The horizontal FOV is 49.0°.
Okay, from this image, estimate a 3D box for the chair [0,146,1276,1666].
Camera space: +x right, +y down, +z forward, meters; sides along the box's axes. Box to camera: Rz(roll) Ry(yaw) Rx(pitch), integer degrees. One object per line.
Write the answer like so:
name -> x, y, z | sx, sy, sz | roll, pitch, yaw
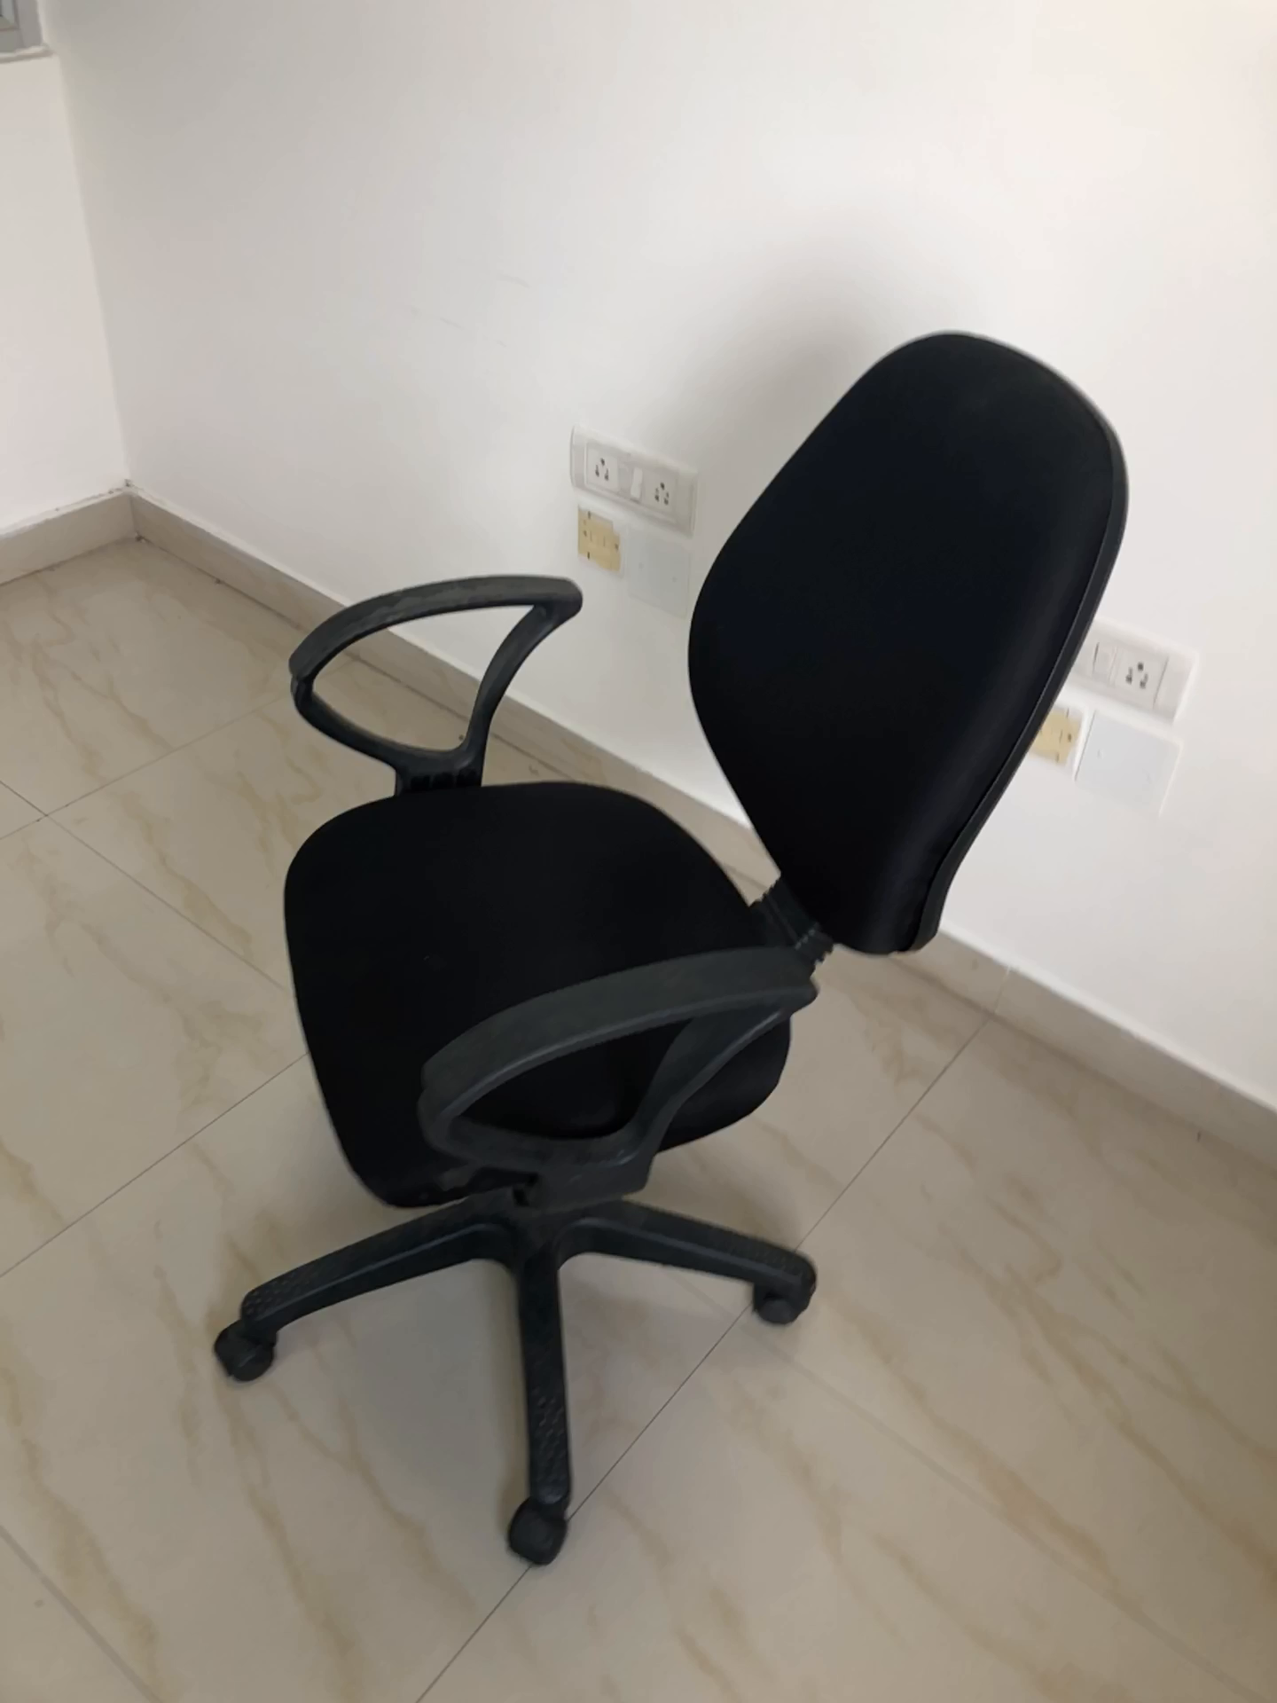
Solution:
chair -> -0.088, 0.005, 1.151 | 0.671, 0.884, 0.684 | -14, 44, -22
